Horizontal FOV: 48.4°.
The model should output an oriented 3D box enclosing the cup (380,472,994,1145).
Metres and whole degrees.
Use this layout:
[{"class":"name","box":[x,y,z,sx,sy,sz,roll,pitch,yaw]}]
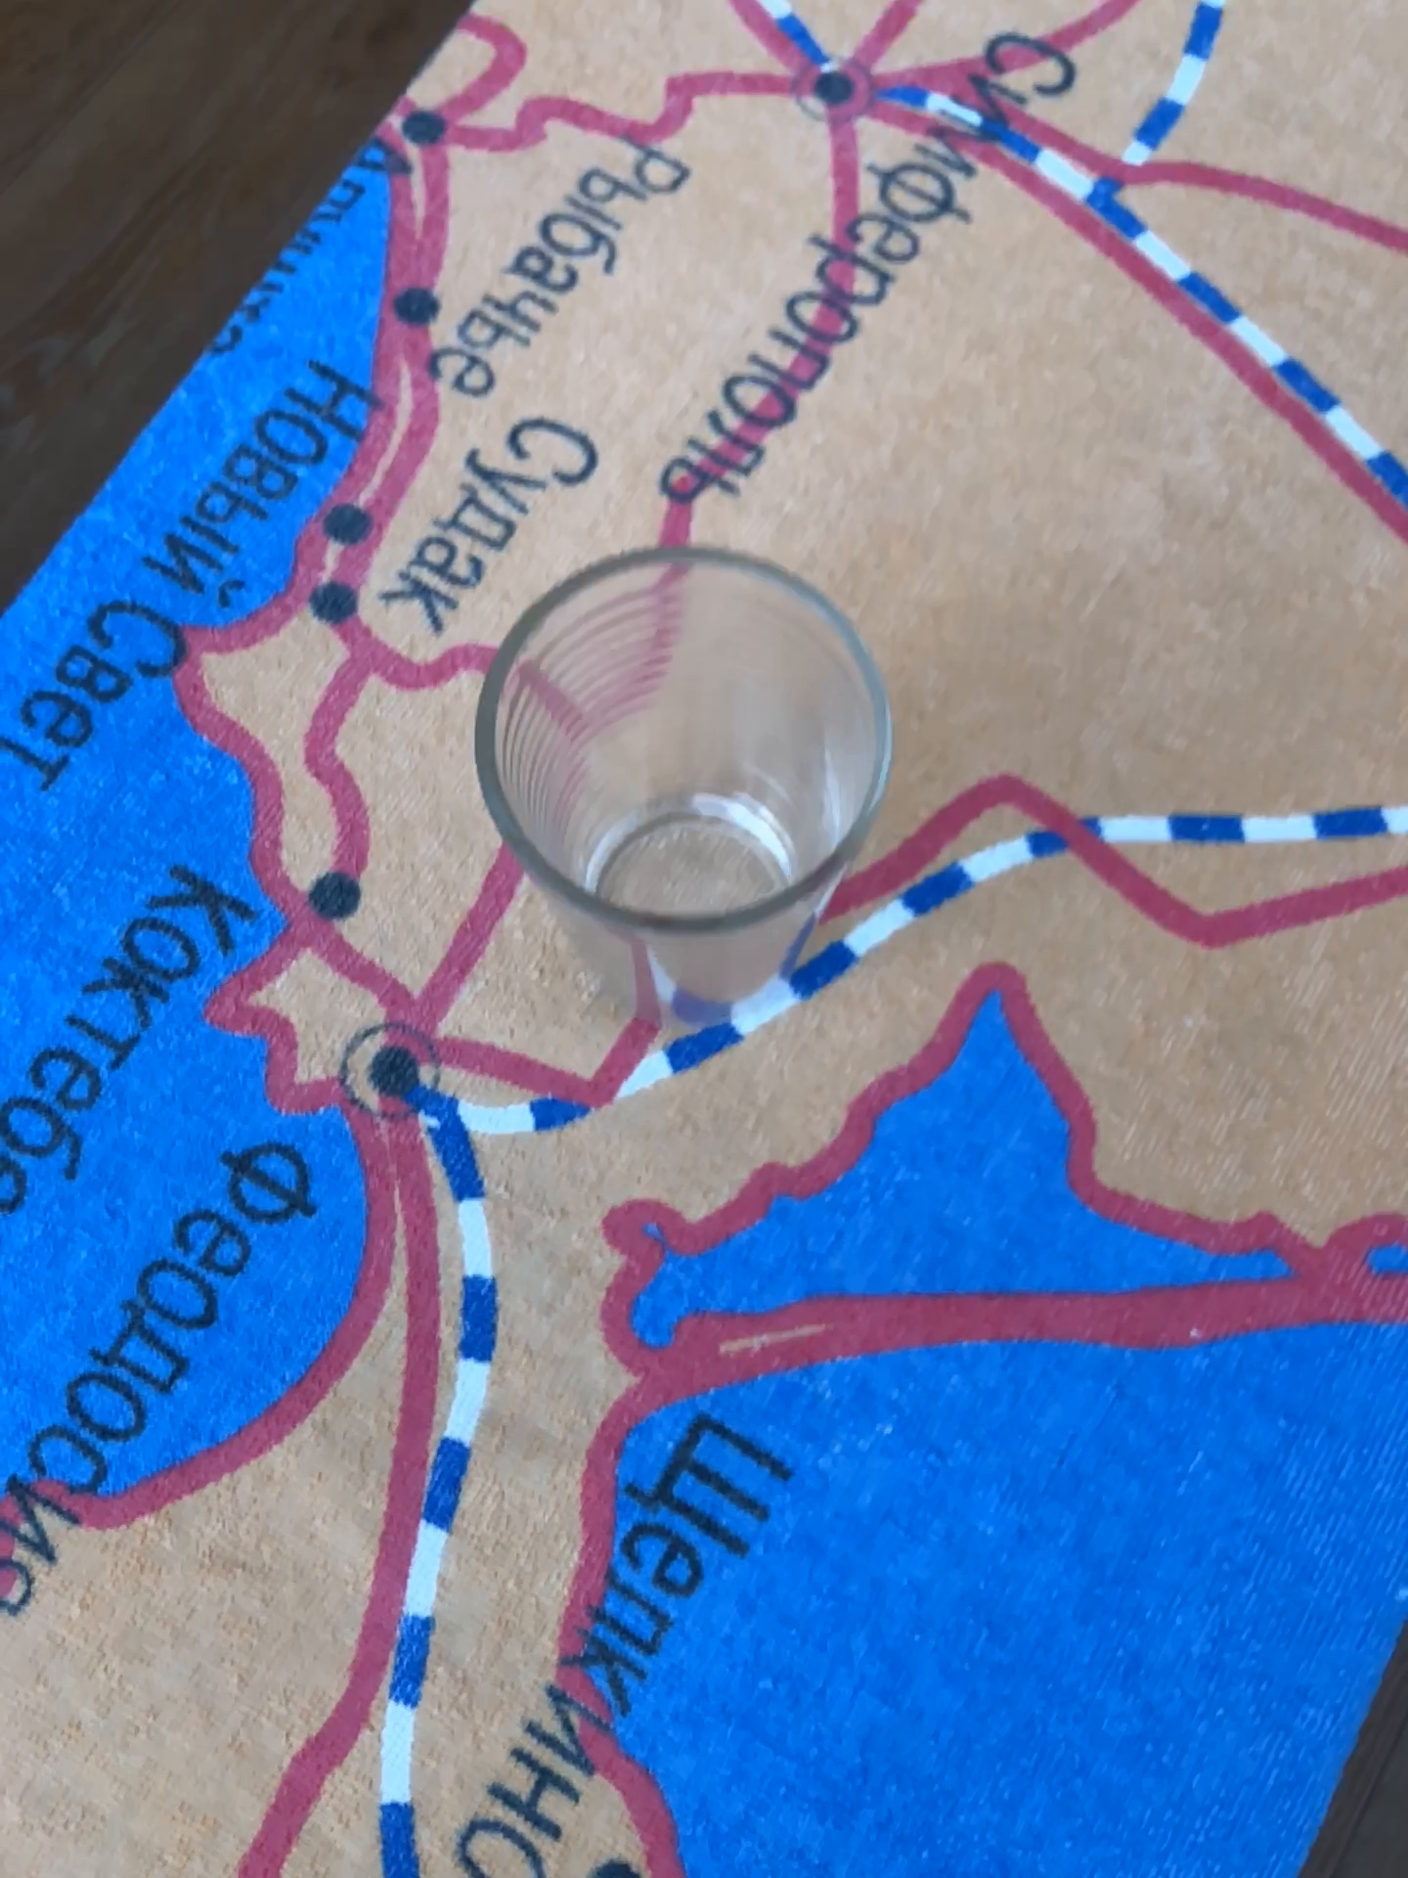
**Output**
[{"class":"cup","box":[-0.003,-0.017,0.290,0.070,0.100,0.068,0,73,-1]}]
